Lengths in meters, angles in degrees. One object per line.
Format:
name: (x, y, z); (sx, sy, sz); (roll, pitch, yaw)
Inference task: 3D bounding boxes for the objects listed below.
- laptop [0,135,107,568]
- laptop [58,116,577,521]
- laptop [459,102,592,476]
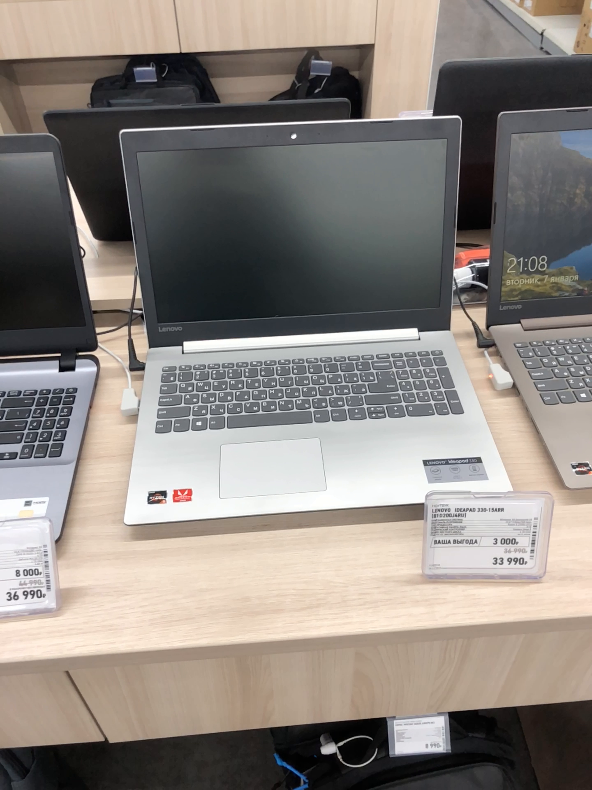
laptop: (-0.399, -0.056, 0.610); (0.326, 0.232, 0.320); (-3, 44, -2)
laptop: (0.009, -0.093, 0.652); (0.365, 0.220, 0.337); (-4, 44, -2)
laptop: (0.423, -0.121, 0.668); (0.357, 0.222, 0.328); (-5, 44, -4)
